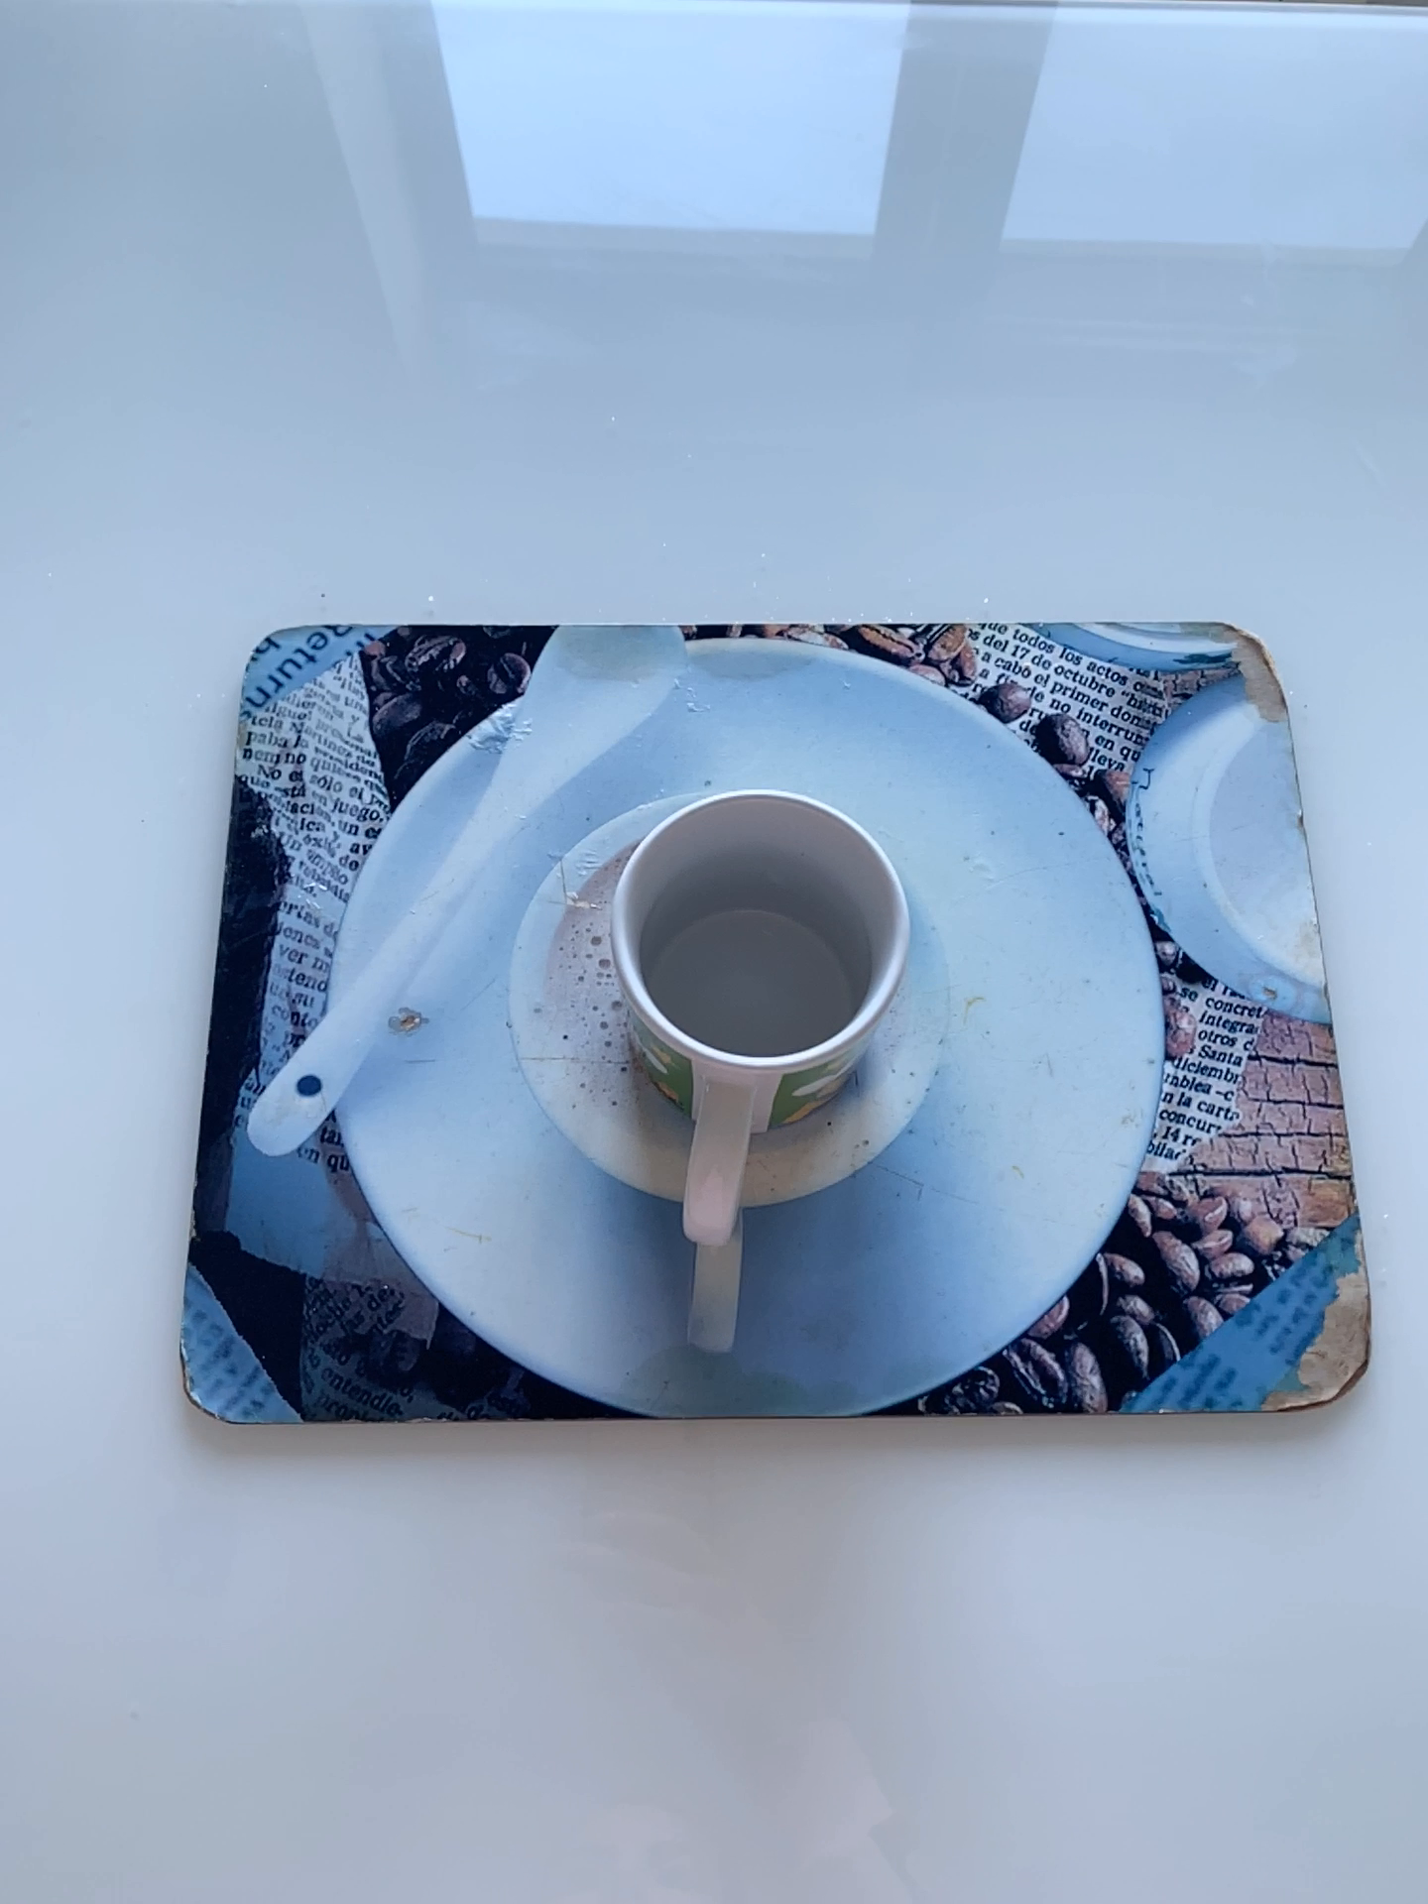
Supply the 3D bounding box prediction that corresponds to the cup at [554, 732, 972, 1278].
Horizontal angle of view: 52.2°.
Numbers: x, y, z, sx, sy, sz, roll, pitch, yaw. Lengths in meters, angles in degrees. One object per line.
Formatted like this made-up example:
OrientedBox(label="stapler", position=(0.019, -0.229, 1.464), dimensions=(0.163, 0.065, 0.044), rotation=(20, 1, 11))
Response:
OrientedBox(label="cup", position=(0.016, 0.019, 0.437), dimensions=(0.094, 0.077, 0.133), rotation=(10, 73, 2))
